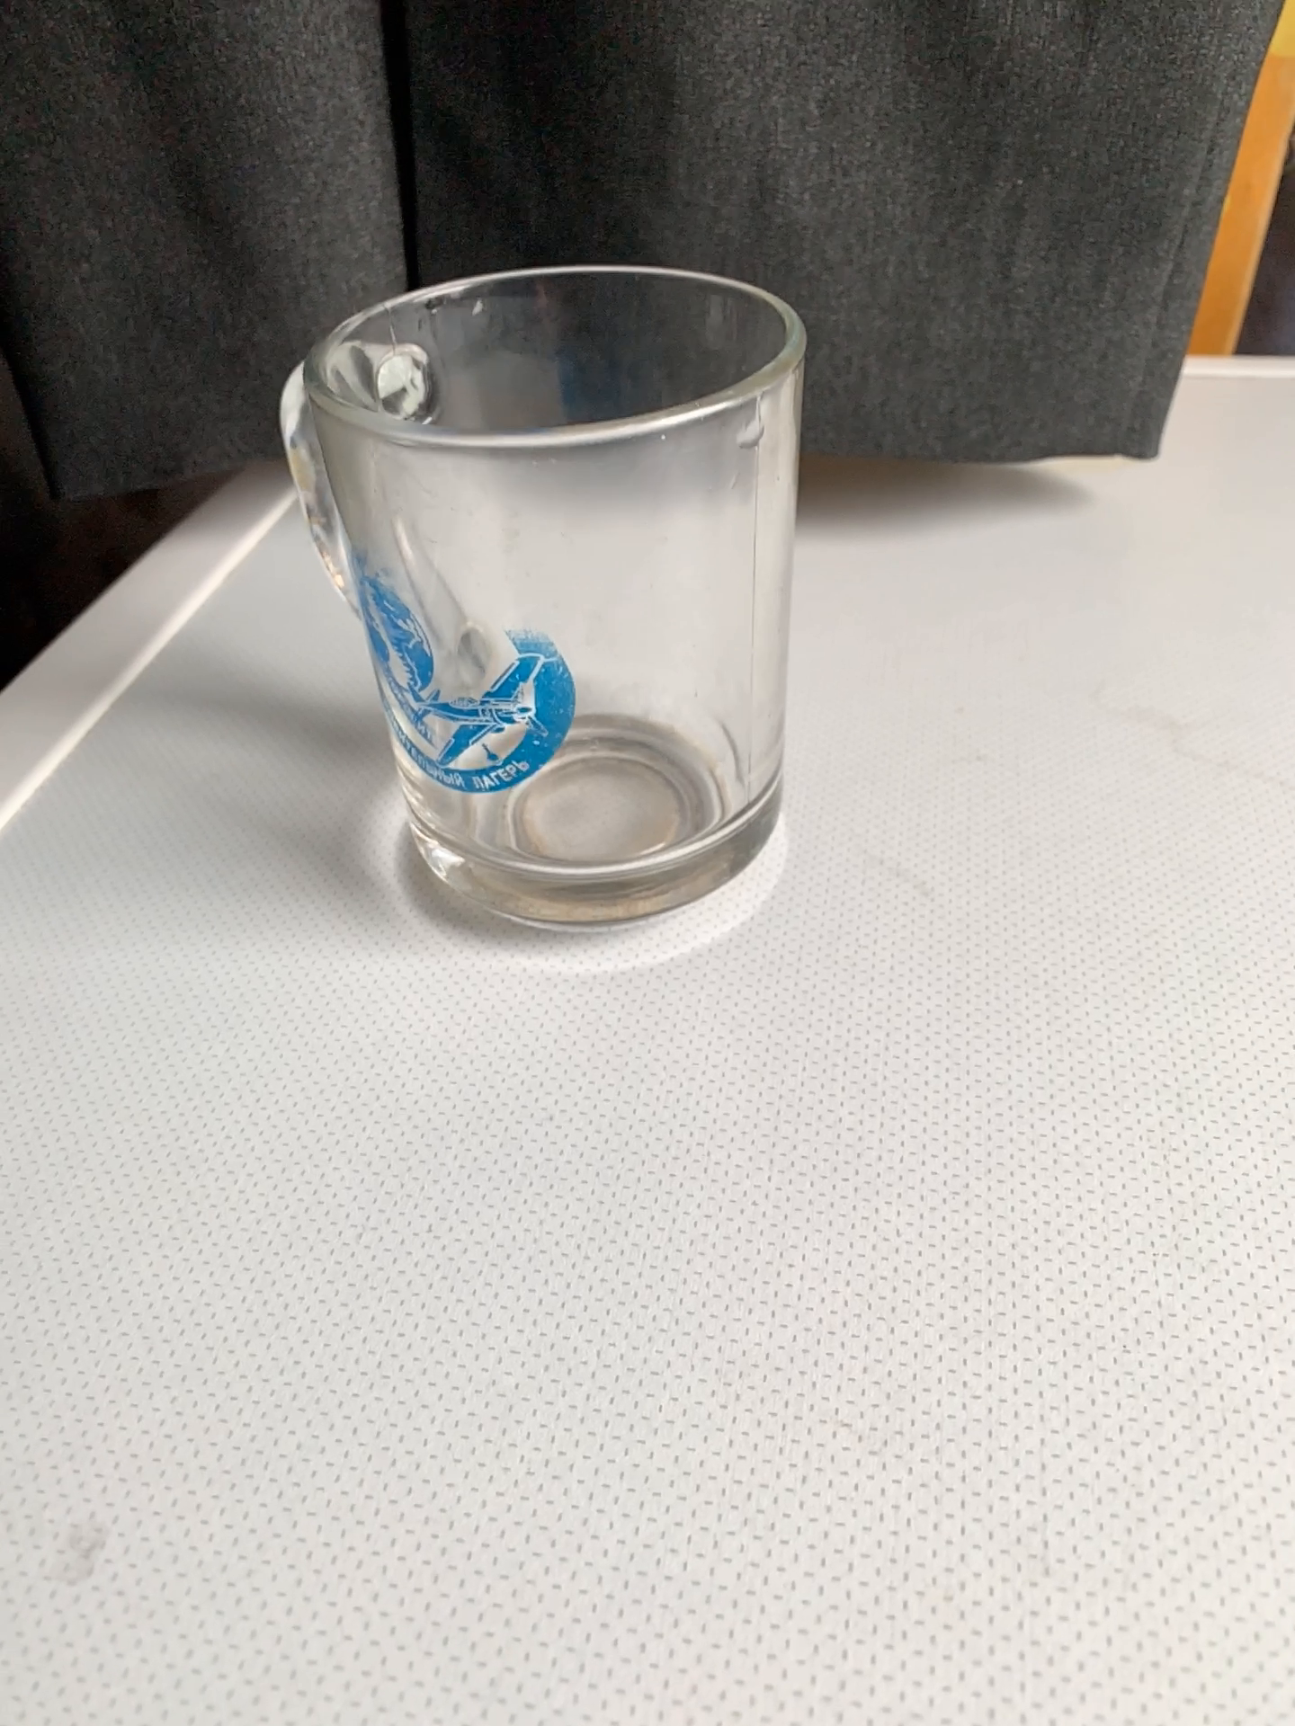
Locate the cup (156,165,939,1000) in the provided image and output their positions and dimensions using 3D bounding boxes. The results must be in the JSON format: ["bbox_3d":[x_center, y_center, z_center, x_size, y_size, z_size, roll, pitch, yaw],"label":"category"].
[{"bbox_3d":[-0.015,-0.050,0.218,0.070,0.089,0.090,-30,45,-29],"label":"cup"}]
